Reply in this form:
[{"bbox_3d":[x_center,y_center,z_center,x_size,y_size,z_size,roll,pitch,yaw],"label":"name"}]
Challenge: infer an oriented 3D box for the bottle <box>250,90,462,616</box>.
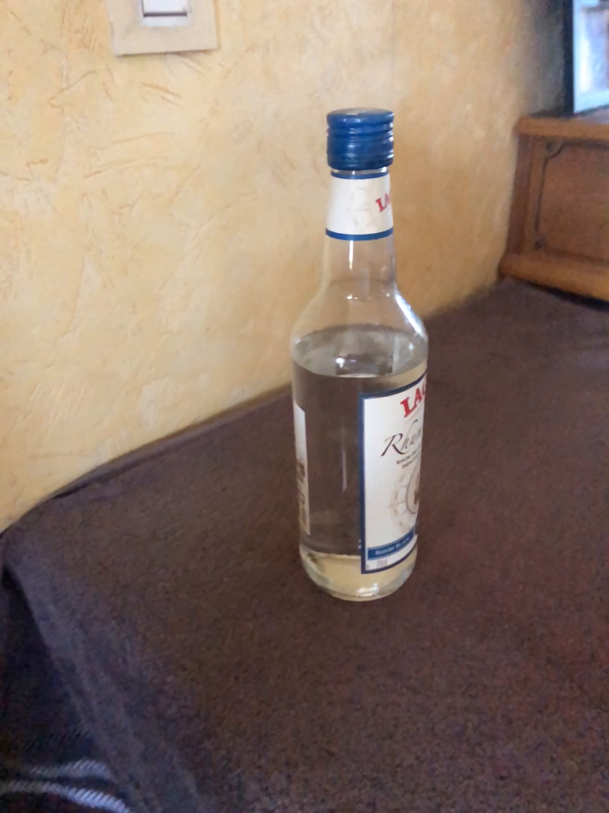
[{"bbox_3d":[0.031,-0.020,0.365,0.080,0.268,0.081,-2,30,1],"label":"bottle"}]
